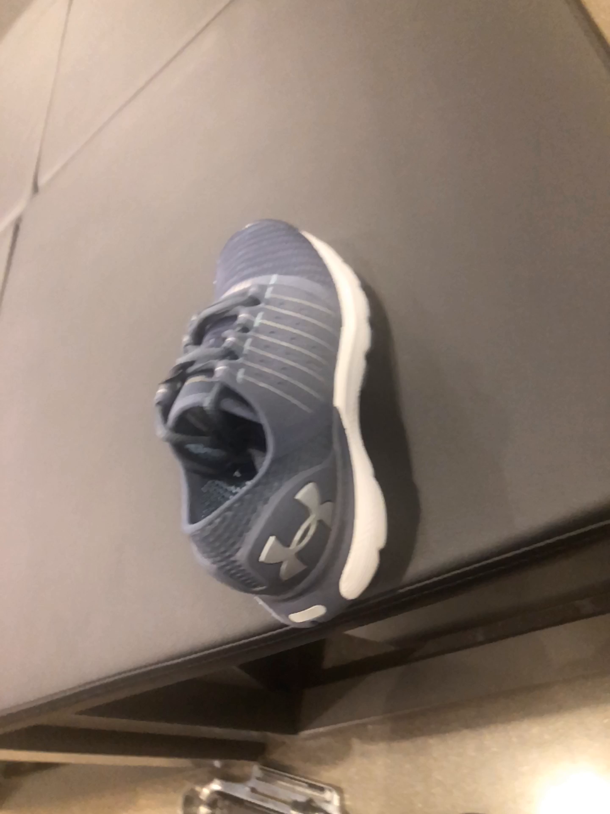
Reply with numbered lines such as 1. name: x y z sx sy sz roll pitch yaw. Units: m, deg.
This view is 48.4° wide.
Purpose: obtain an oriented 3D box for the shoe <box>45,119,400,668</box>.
1. shoe: -0.045 -0.011 0.367 0.120 0.097 0.255 -28 50 29
